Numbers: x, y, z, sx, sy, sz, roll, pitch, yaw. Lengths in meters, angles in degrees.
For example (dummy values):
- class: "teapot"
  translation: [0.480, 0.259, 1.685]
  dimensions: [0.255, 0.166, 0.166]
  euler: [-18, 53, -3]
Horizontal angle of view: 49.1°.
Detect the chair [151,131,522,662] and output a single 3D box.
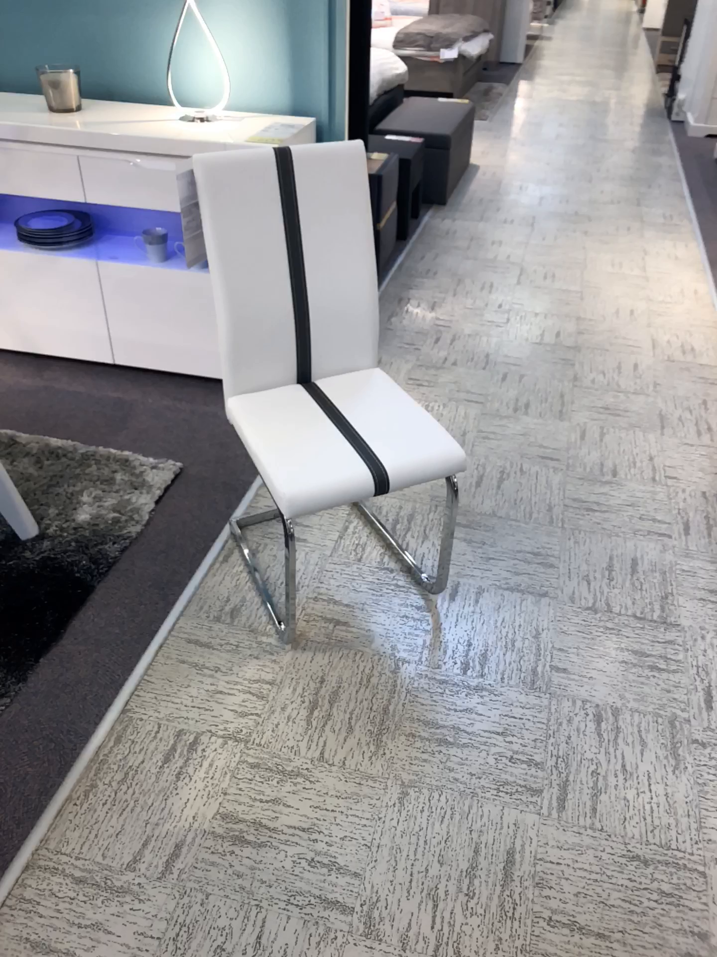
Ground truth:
- class: "chair"
  translation: [-0.079, -0.189, 1.658]
  dimensions: [0.488, 0.878, 0.571]
  euler: [-13, 38, -20]
